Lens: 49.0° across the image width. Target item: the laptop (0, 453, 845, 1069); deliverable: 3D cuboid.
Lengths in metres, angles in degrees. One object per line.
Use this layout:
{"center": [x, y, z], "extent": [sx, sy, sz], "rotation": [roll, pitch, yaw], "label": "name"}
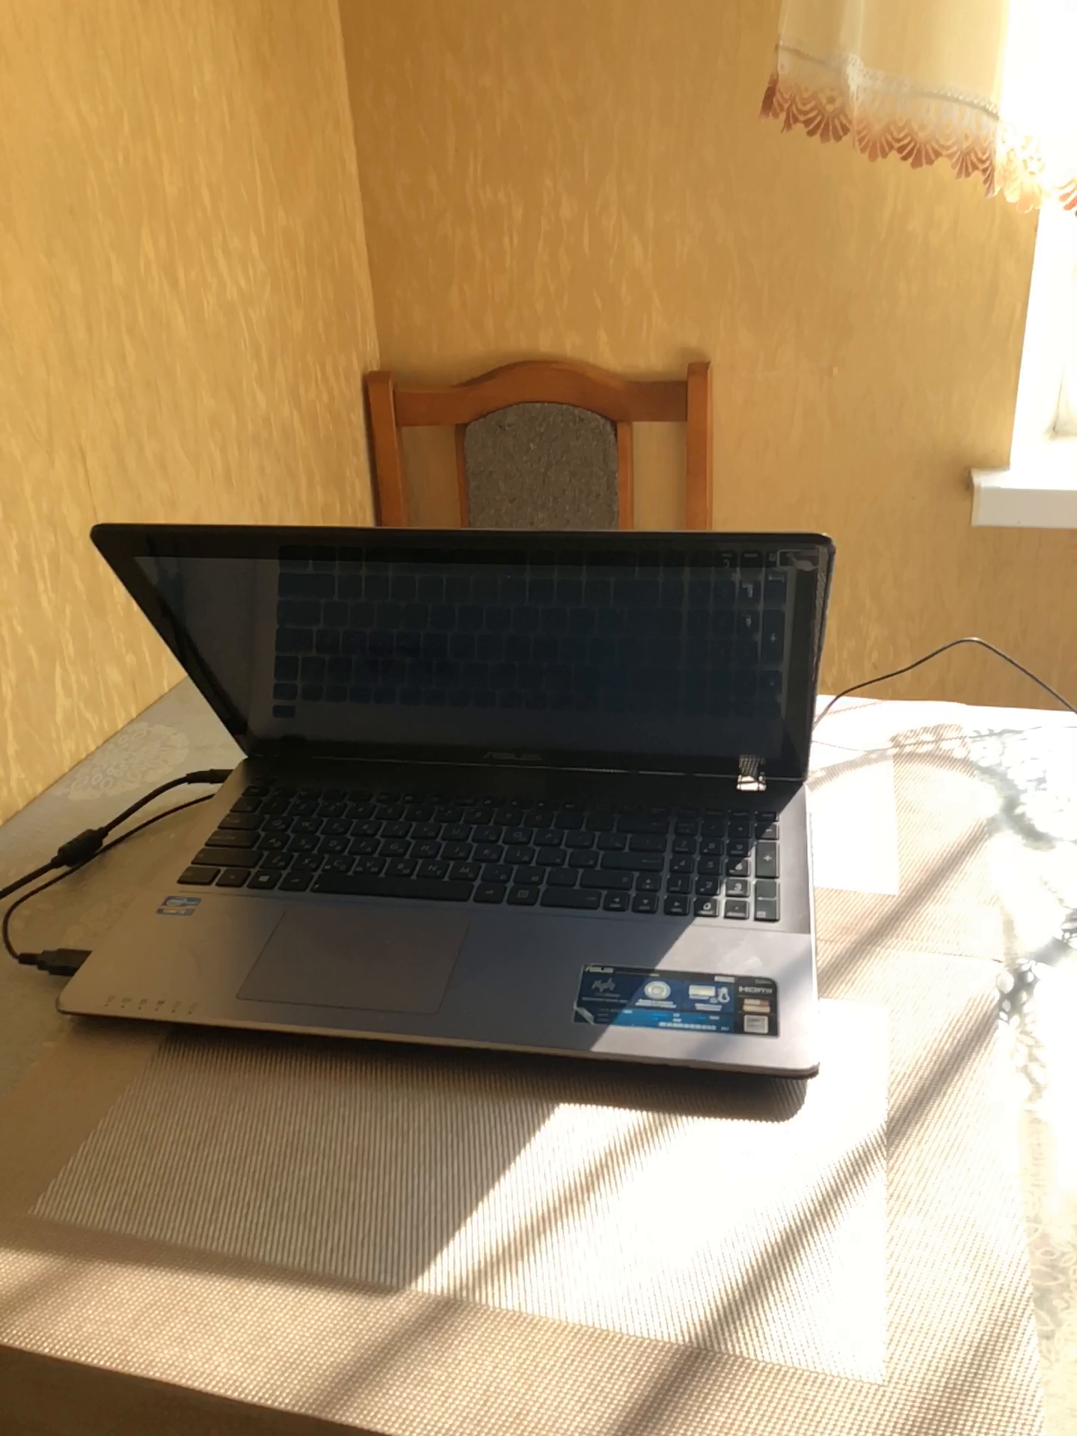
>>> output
{"center": [-0.044, -0.002, 0.600], "extent": [0.361, 0.200, 0.246], "rotation": [2, 27, 10], "label": "laptop"}
